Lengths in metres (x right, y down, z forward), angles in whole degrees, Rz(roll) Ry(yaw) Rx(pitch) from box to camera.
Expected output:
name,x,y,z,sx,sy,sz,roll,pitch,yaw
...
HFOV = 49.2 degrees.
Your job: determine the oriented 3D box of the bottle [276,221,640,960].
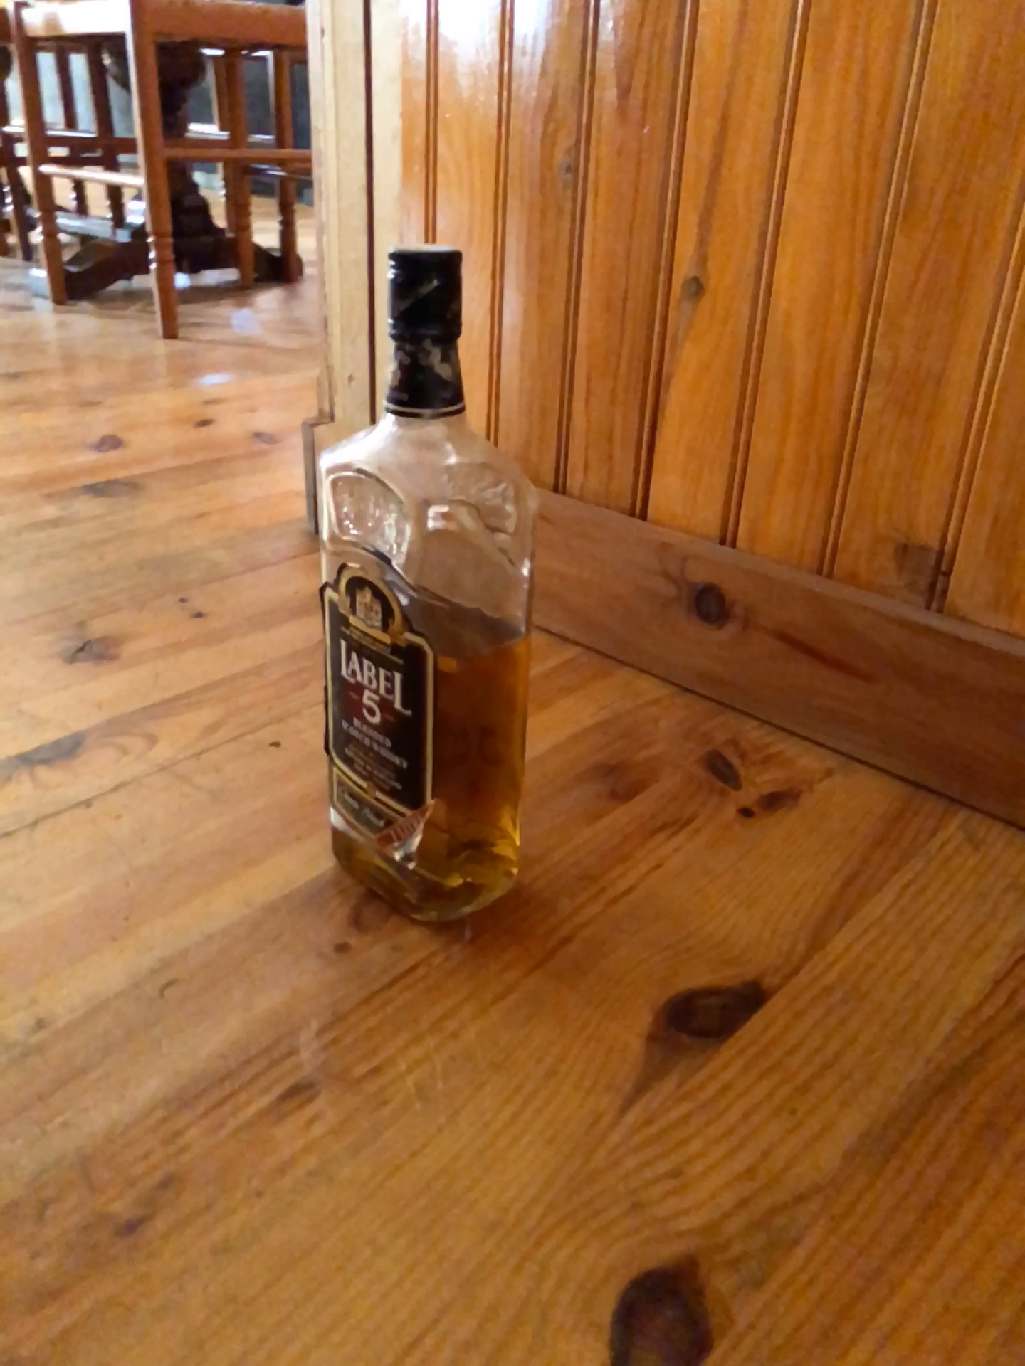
name,x,y,z,sx,sy,sz,roll,pitch,yaw
bottle,-0.029,-0.040,0.490,0.080,0.288,0.120,-21,35,-38
